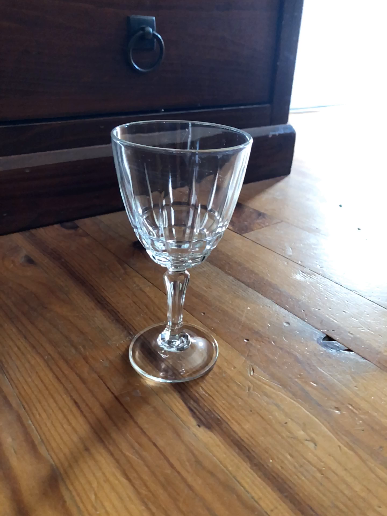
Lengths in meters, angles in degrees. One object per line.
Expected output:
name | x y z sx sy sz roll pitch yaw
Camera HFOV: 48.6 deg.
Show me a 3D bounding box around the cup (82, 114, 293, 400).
cup | -0.010 -0.008 0.265 0.085 0.141 0.084 3 26 -2
